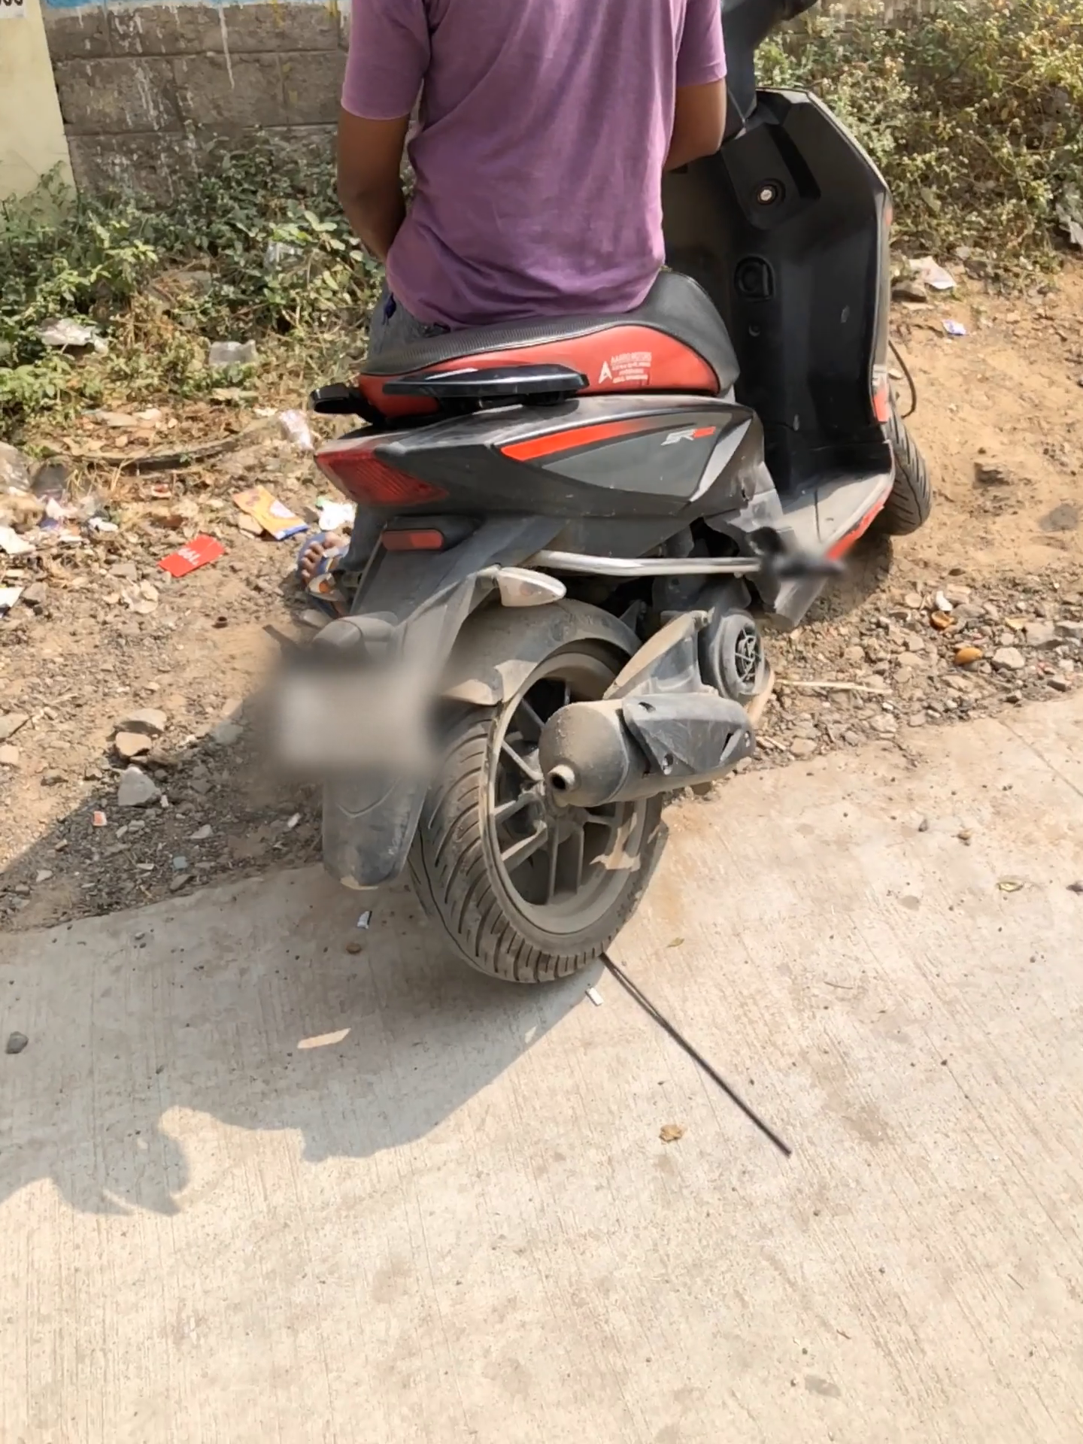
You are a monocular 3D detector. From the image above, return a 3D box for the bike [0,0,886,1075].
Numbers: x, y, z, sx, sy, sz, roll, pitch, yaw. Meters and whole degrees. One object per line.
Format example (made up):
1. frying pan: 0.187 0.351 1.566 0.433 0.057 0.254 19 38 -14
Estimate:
1. bike: -0.014 -0.652 1.964 0.717 1.199 1.777 13 41 16
